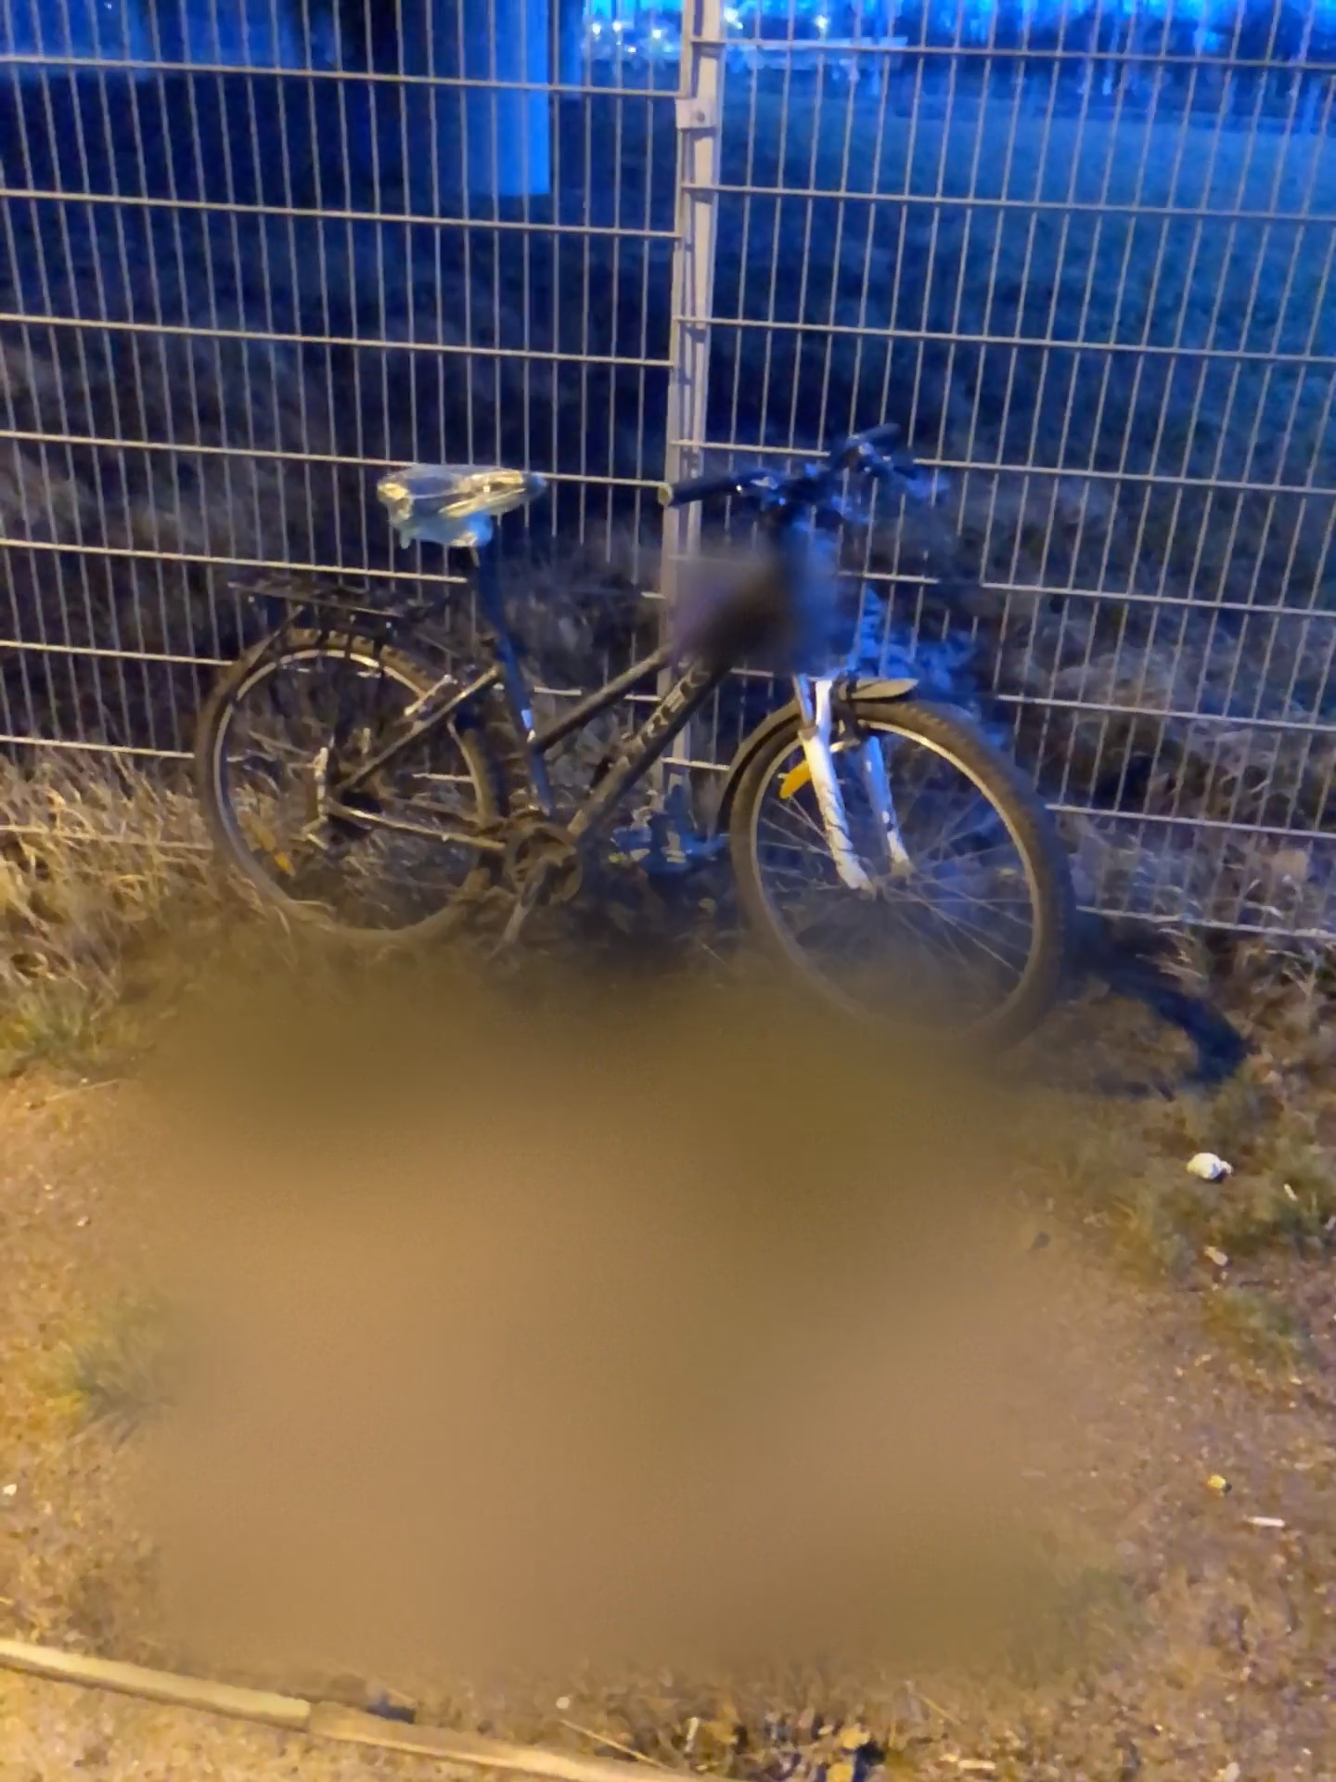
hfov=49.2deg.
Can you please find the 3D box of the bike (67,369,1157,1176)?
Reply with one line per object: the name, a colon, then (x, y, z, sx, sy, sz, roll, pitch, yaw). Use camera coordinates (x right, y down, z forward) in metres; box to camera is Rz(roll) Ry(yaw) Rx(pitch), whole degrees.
bike: (-0.121, -0.279, 2.410, 1.585, 0.947, 0.572, 12, 30, 21)
